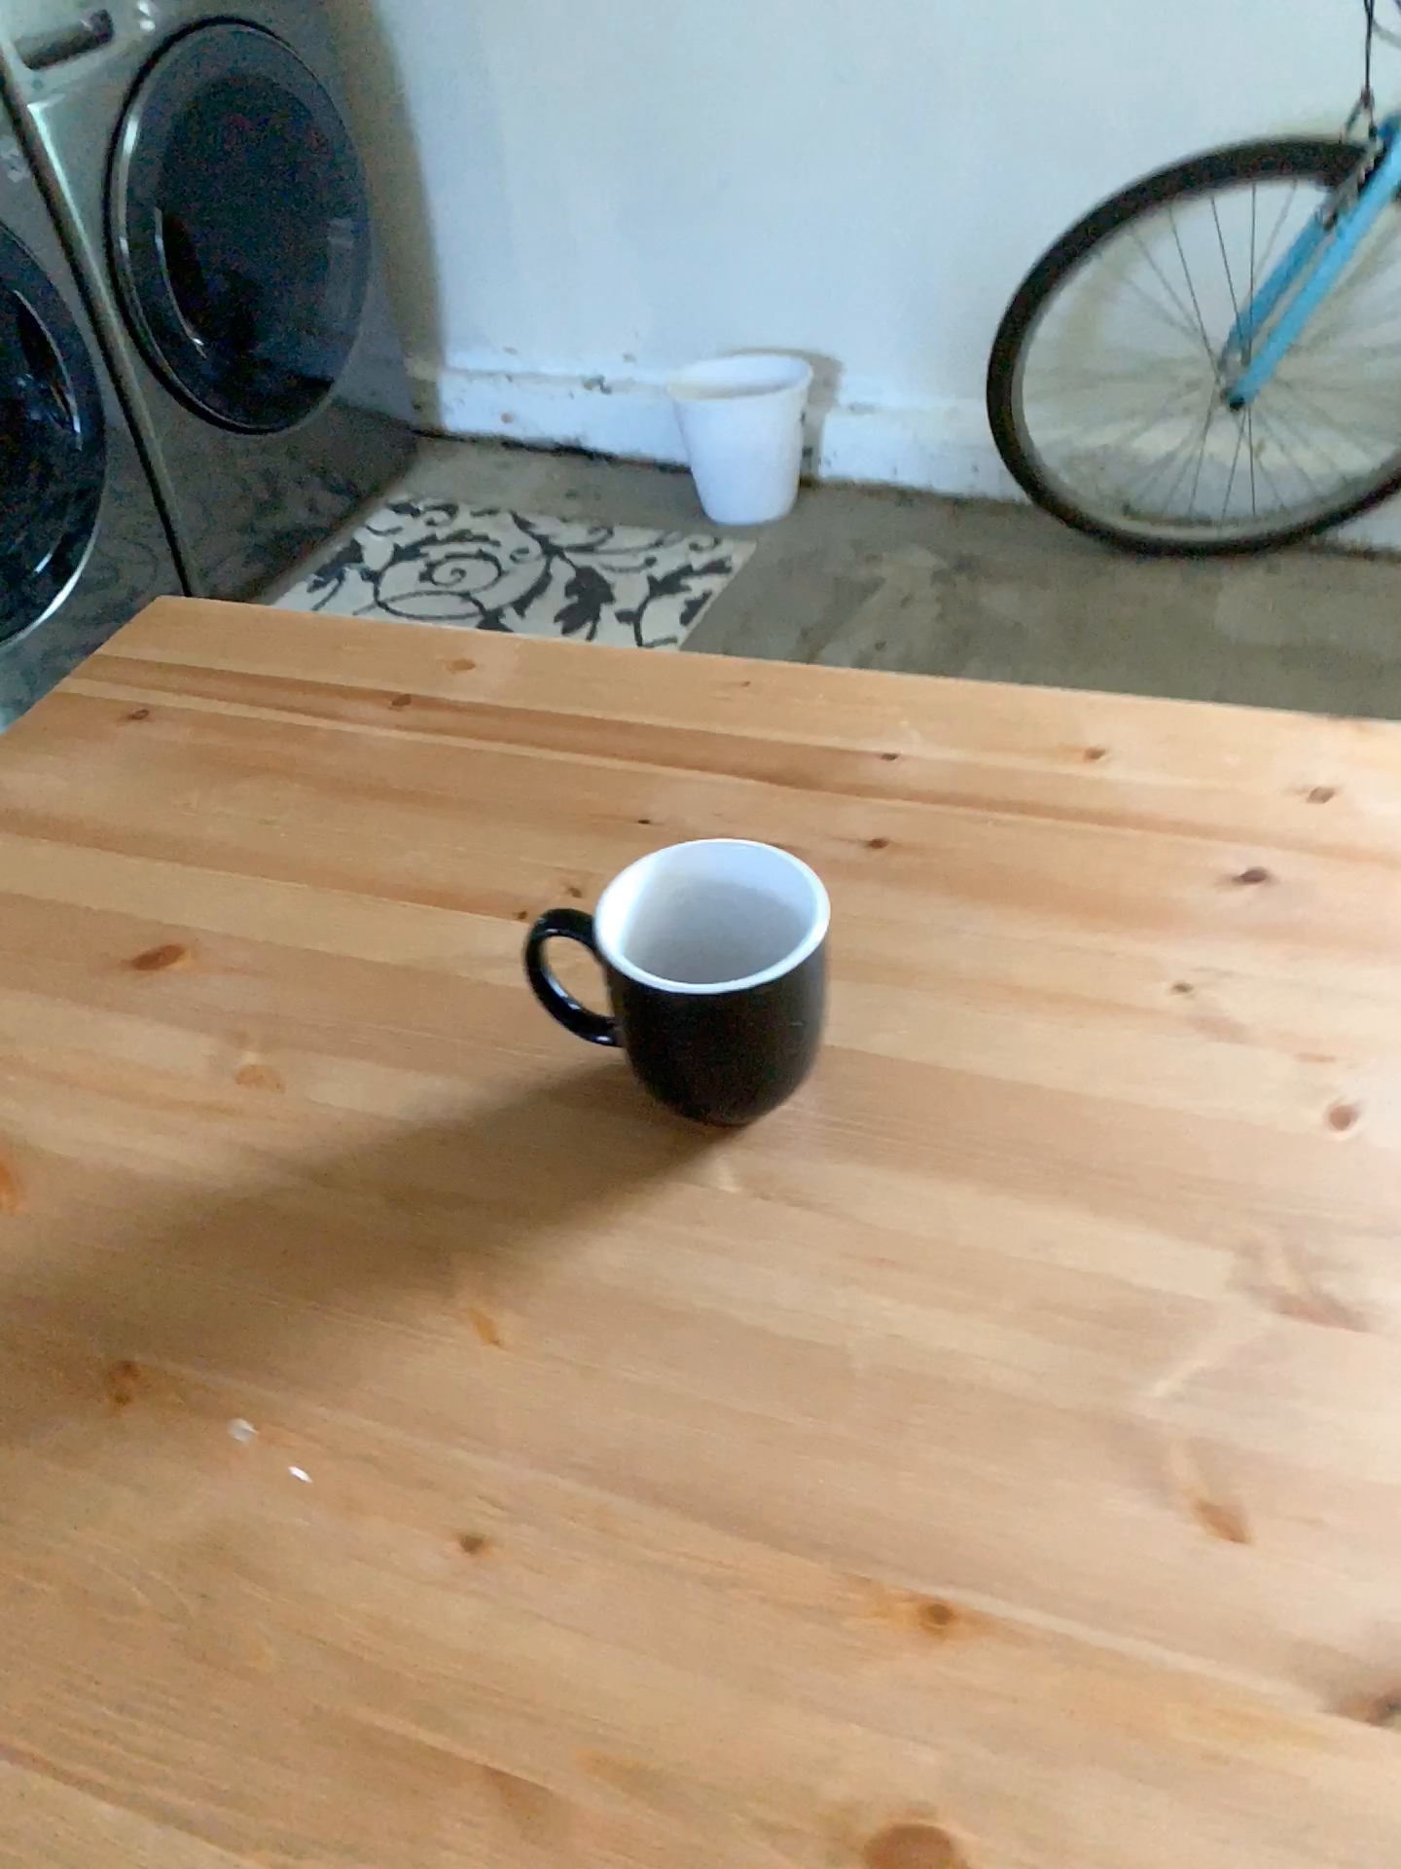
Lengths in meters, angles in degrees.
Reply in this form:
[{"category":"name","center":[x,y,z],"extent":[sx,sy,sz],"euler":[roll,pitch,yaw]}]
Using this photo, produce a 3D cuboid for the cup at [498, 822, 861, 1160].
[{"category":"cup","center":[-0.002,0.024,0.643],"extent":[0.140,0.110,0.100],"euler":[1,44,9]}]
